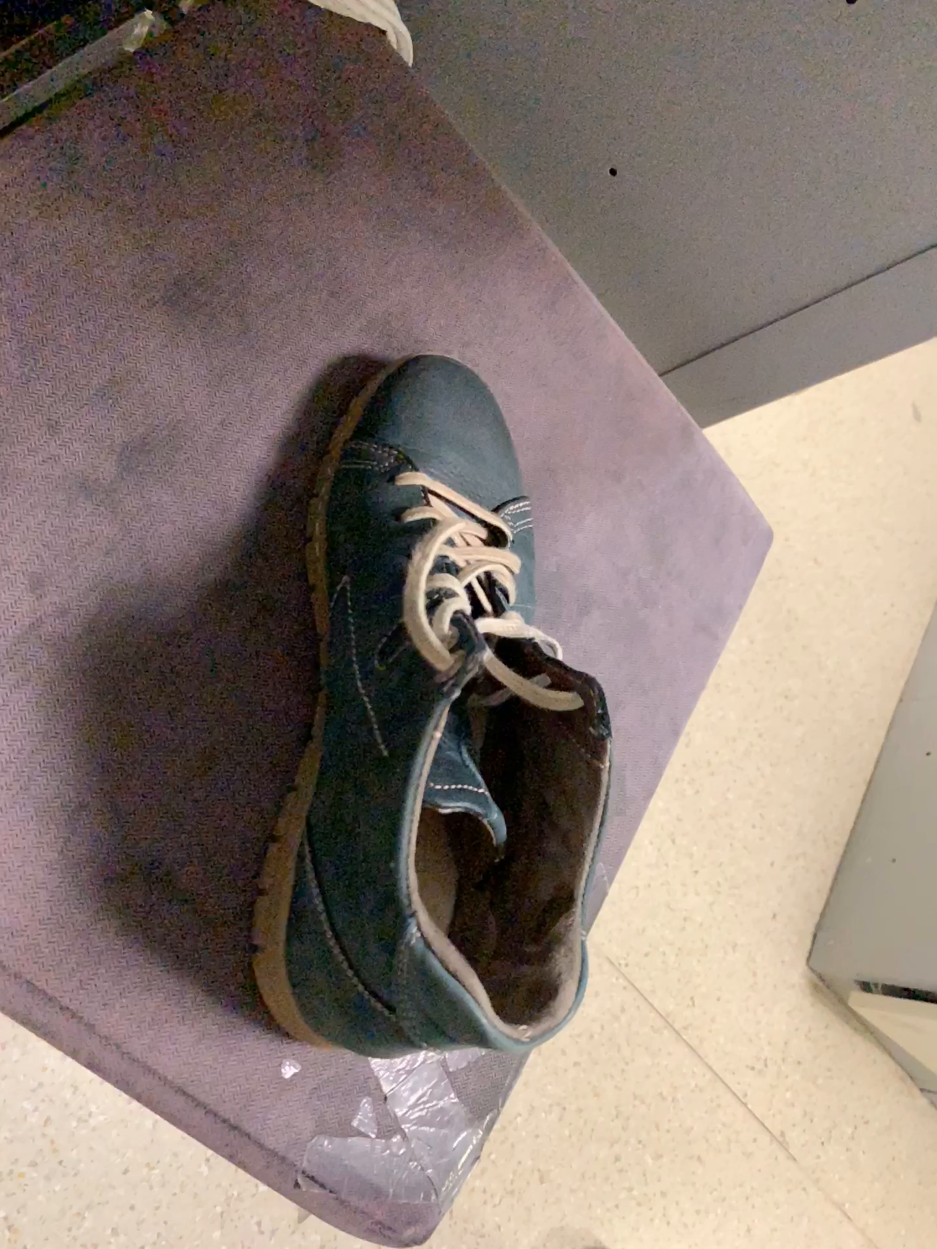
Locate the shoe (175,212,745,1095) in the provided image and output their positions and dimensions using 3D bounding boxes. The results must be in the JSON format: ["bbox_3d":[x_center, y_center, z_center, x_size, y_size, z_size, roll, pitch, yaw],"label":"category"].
[{"bbox_3d":[-0.001,0.016,0.340,0.103,0.142,0.245,20,69,-32],"label":"shoe"}]
